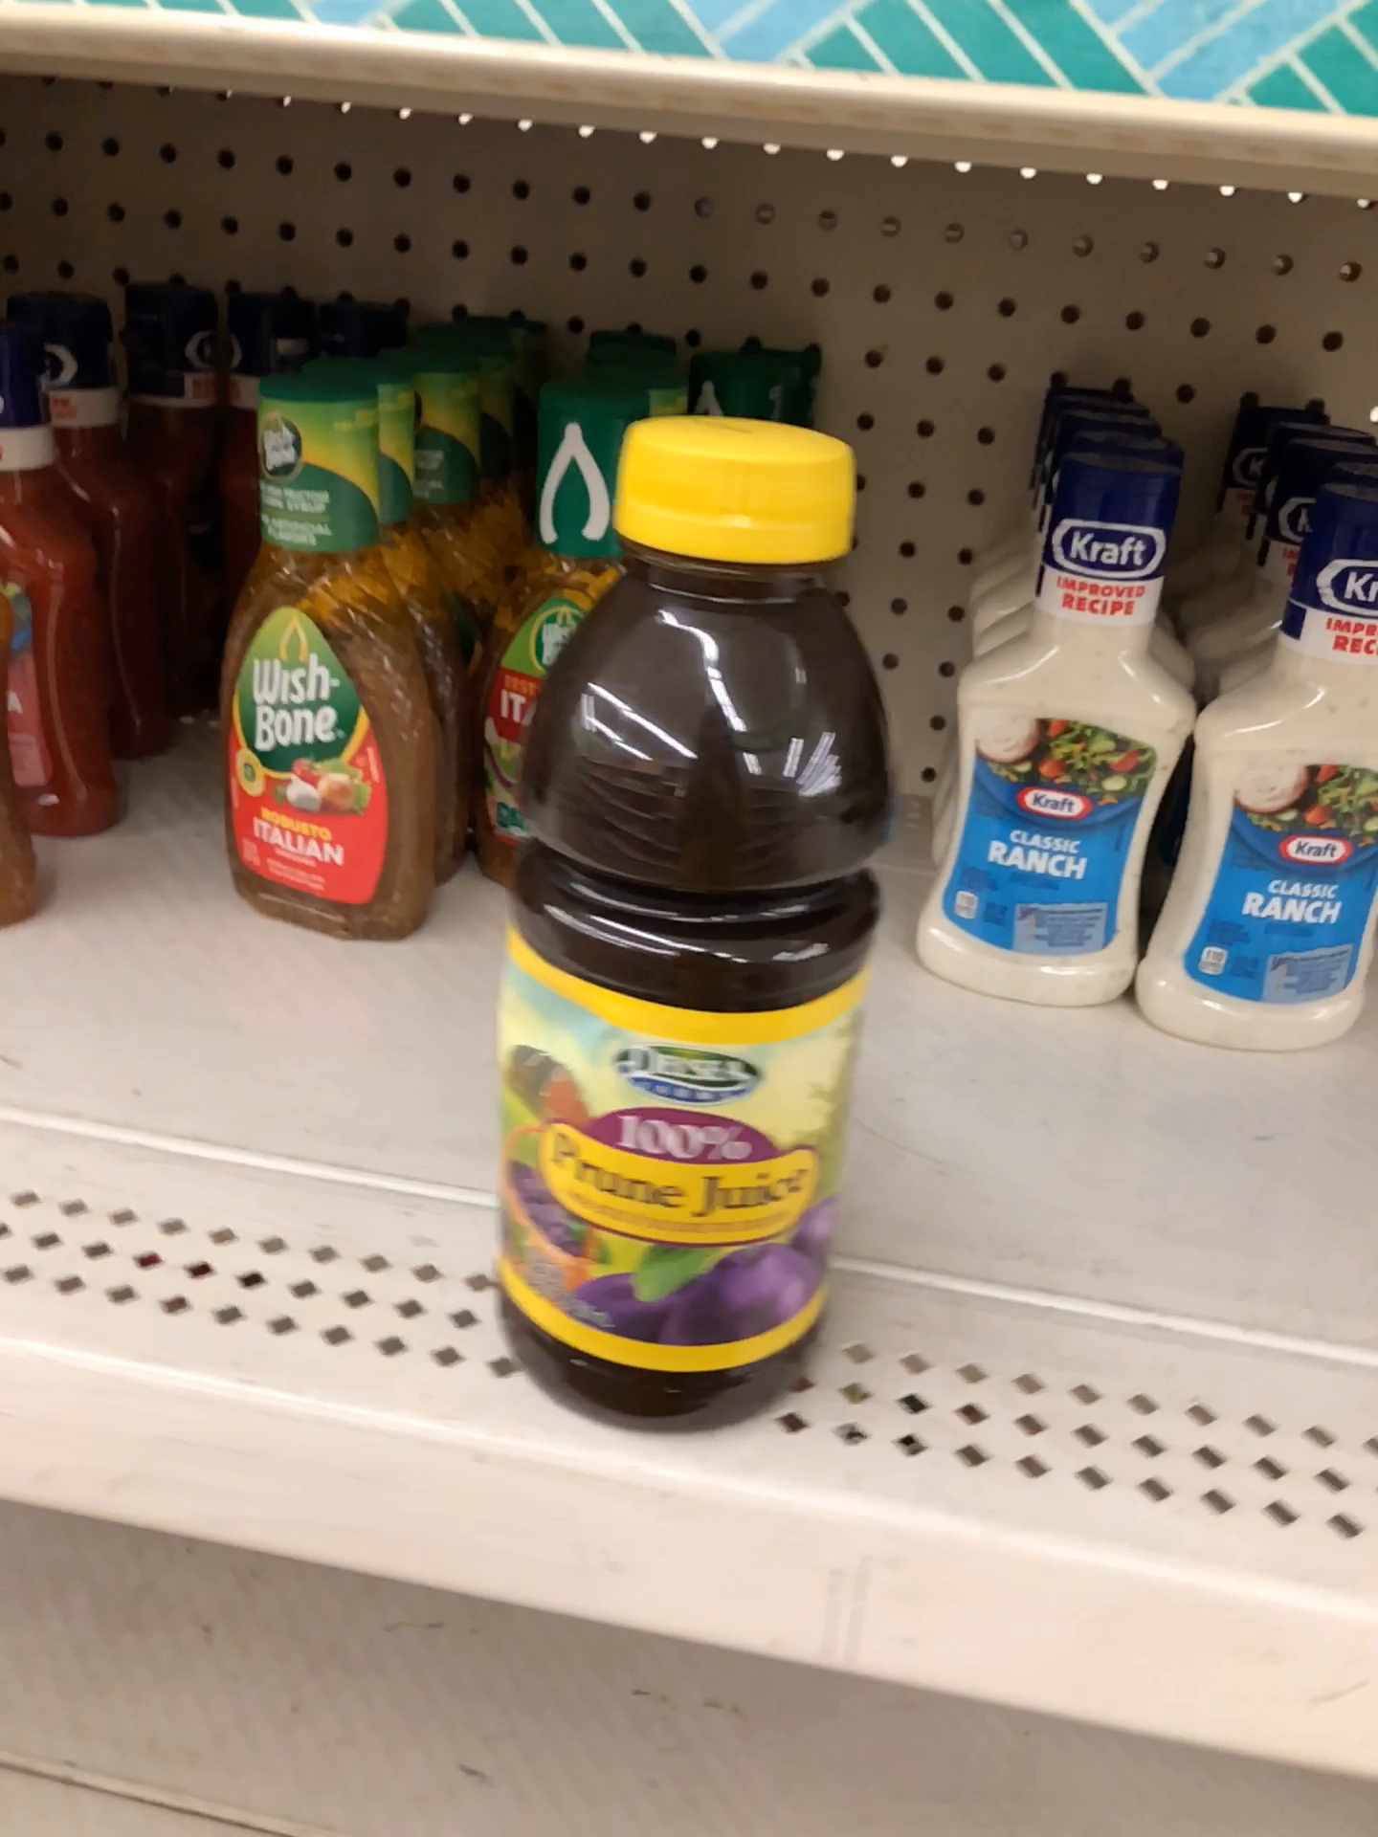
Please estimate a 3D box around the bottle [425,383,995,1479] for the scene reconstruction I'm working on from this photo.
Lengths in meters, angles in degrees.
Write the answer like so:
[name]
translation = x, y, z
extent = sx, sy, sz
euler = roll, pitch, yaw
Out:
[bottle]
translation = 0.001, 0.002, 0.289
extent = 0.080, 0.181, 0.080
euler = 4, 26, -2
